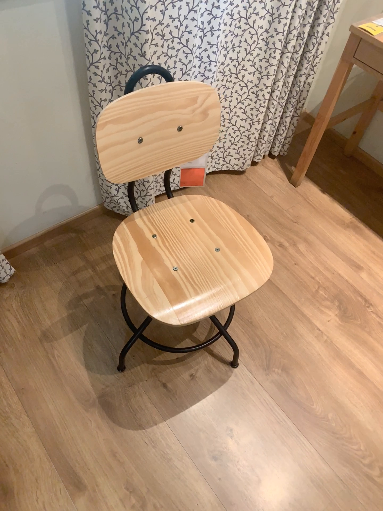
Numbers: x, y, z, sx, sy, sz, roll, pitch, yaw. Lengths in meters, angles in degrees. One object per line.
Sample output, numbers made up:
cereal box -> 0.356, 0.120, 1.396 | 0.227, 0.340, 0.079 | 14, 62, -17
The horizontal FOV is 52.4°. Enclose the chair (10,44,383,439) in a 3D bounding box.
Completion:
chair -> -0.006, -0.029, 1.020 | 0.561, 0.648, 0.621 | -23, 60, -21
